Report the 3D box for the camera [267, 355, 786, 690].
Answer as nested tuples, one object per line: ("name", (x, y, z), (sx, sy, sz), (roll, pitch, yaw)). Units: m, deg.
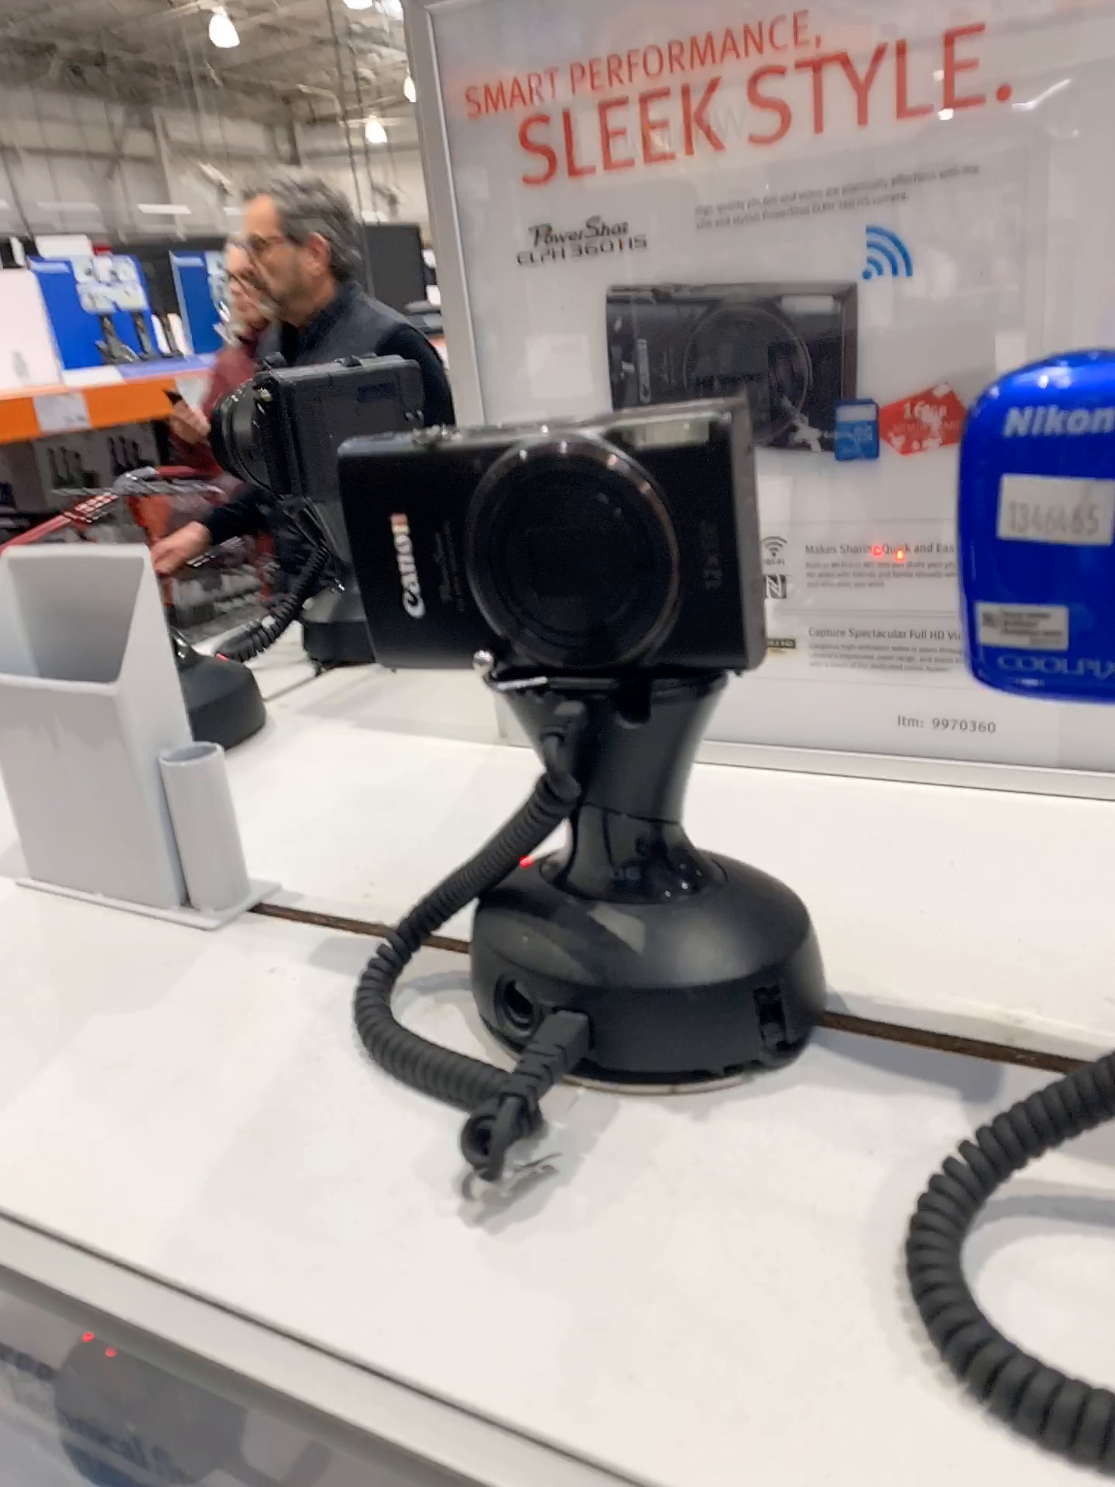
("camera", (-0.005, -0.048, 0.251), (0.100, 0.060, 0.040), (3, 21, 24))
